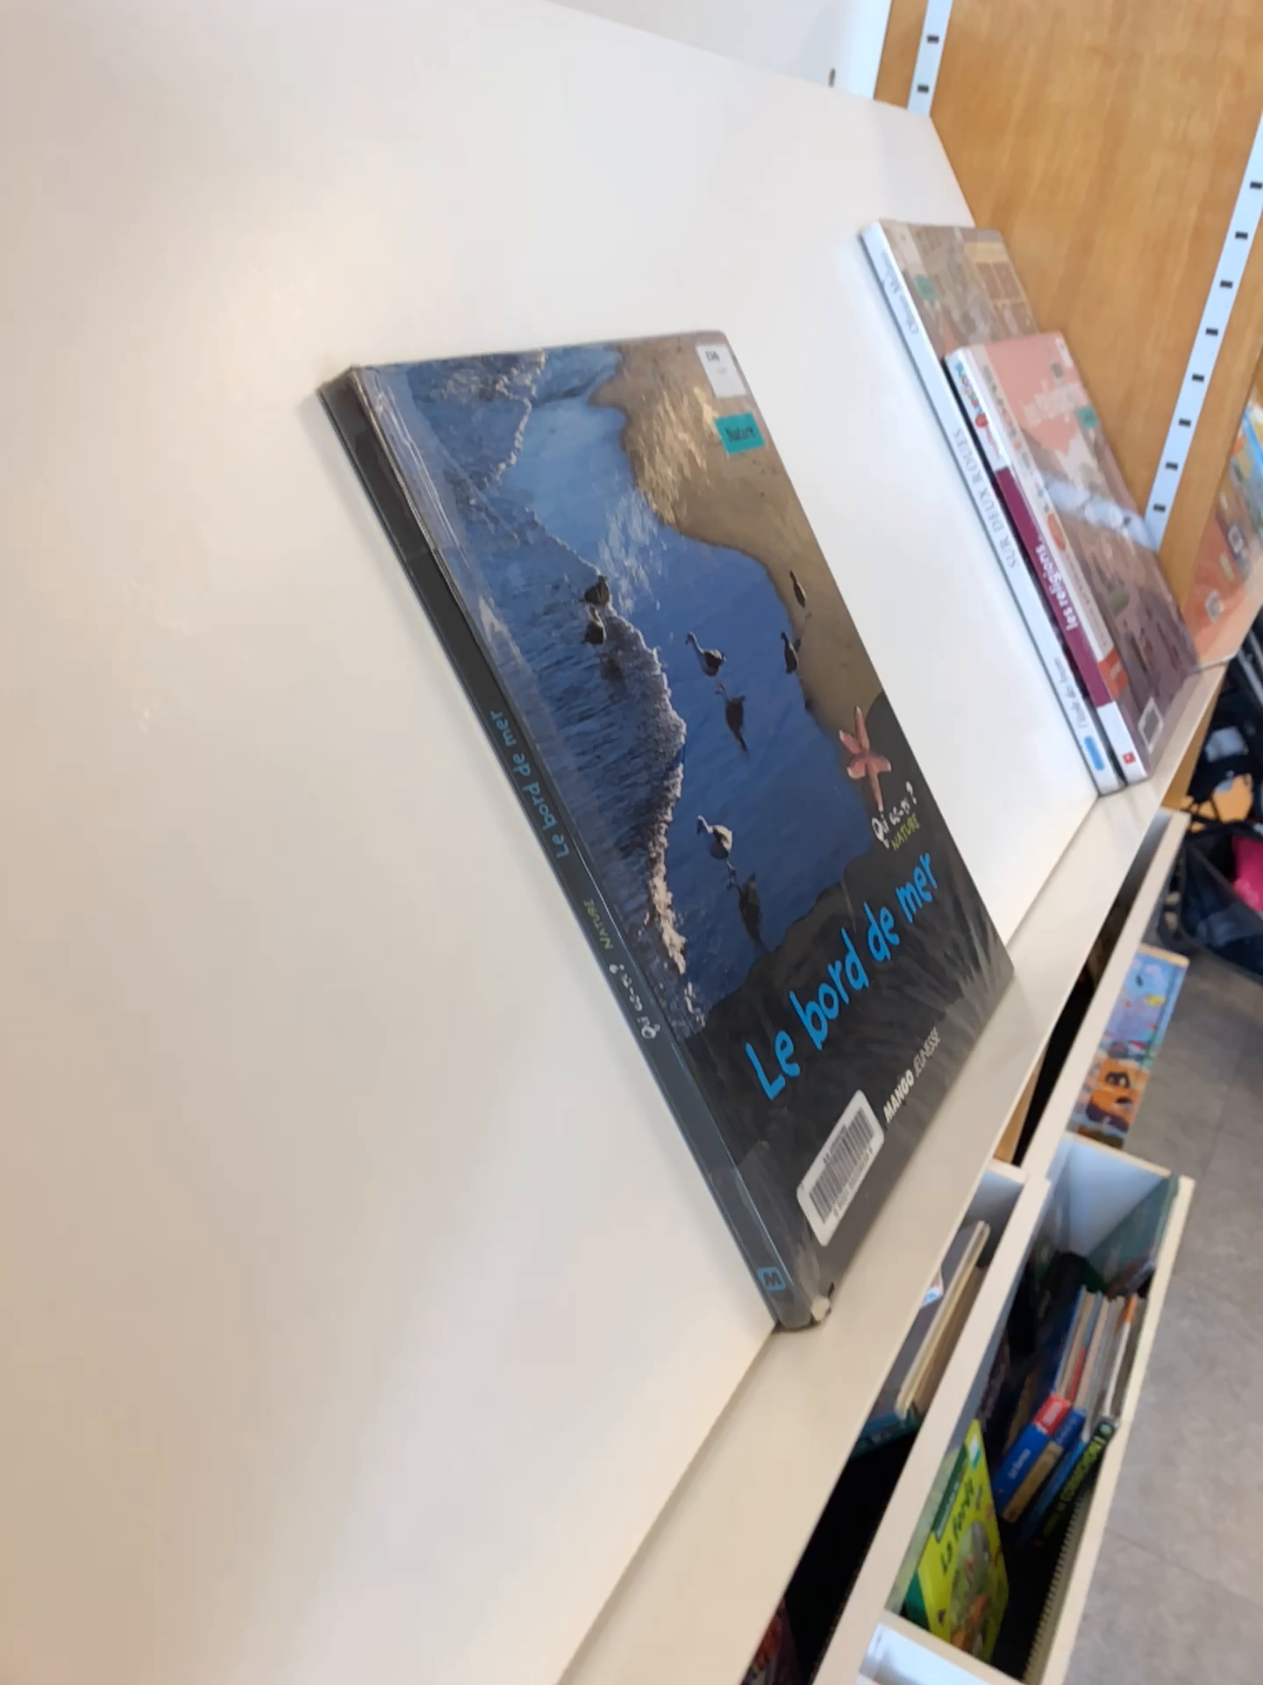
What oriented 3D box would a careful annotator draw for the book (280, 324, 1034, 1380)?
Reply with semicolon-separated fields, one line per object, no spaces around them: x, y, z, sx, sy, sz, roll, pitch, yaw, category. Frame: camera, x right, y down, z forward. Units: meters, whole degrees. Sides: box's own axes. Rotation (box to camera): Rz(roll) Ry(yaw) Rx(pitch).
0.033;-0.022;0.392;0.020;0.244;0.210;-21;9;33;book
